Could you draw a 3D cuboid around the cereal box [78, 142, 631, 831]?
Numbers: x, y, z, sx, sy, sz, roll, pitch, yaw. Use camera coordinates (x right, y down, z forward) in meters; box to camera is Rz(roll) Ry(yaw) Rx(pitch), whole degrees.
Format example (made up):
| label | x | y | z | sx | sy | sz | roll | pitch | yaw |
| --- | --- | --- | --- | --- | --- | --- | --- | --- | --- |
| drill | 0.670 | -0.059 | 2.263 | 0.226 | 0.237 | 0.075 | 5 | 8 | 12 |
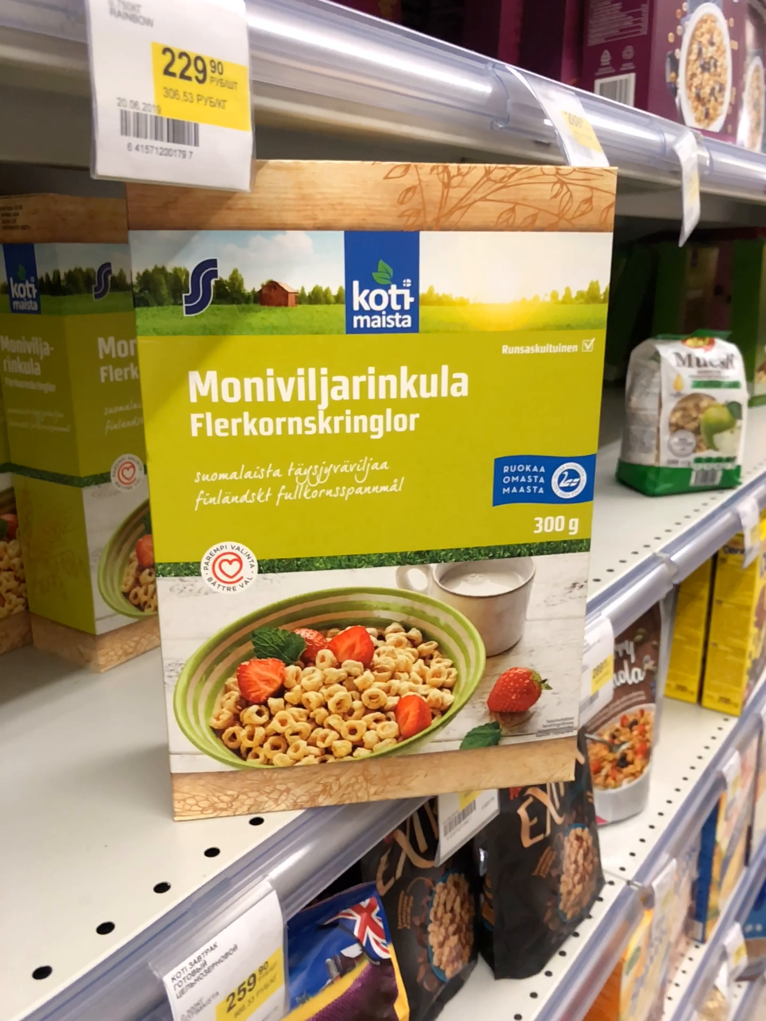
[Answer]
| label | x | y | z | sx | sy | sz | roll | pitch | yaw |
| --- | --- | --- | --- | --- | --- | --- | --- | --- | --- |
| cereal box | -0.009 | -0.009 | 0.357 | 0.190 | 0.259 | 0.070 | -3 | 16 | -8 |
